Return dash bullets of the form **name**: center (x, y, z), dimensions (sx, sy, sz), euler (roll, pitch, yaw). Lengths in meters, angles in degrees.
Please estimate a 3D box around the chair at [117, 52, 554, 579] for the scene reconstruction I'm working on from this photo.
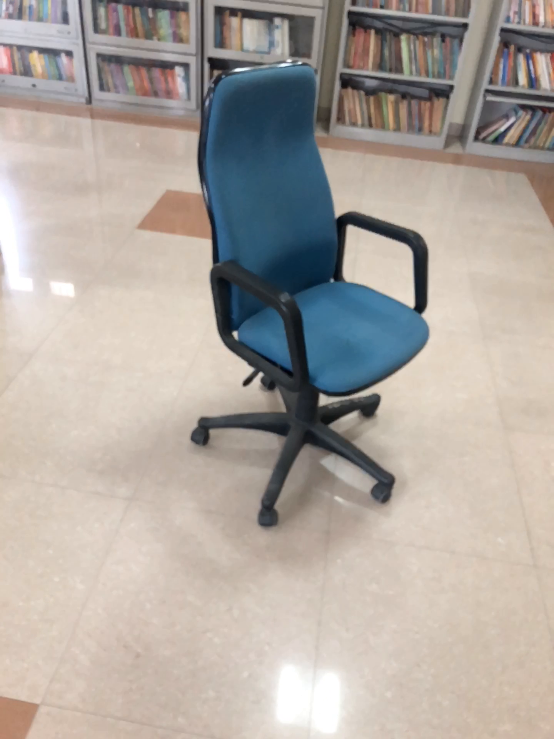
- **chair**: center (0.126, -0.197, 1.741), dimensions (0.762, 1.076, 0.741), euler (33, 44, 32)
